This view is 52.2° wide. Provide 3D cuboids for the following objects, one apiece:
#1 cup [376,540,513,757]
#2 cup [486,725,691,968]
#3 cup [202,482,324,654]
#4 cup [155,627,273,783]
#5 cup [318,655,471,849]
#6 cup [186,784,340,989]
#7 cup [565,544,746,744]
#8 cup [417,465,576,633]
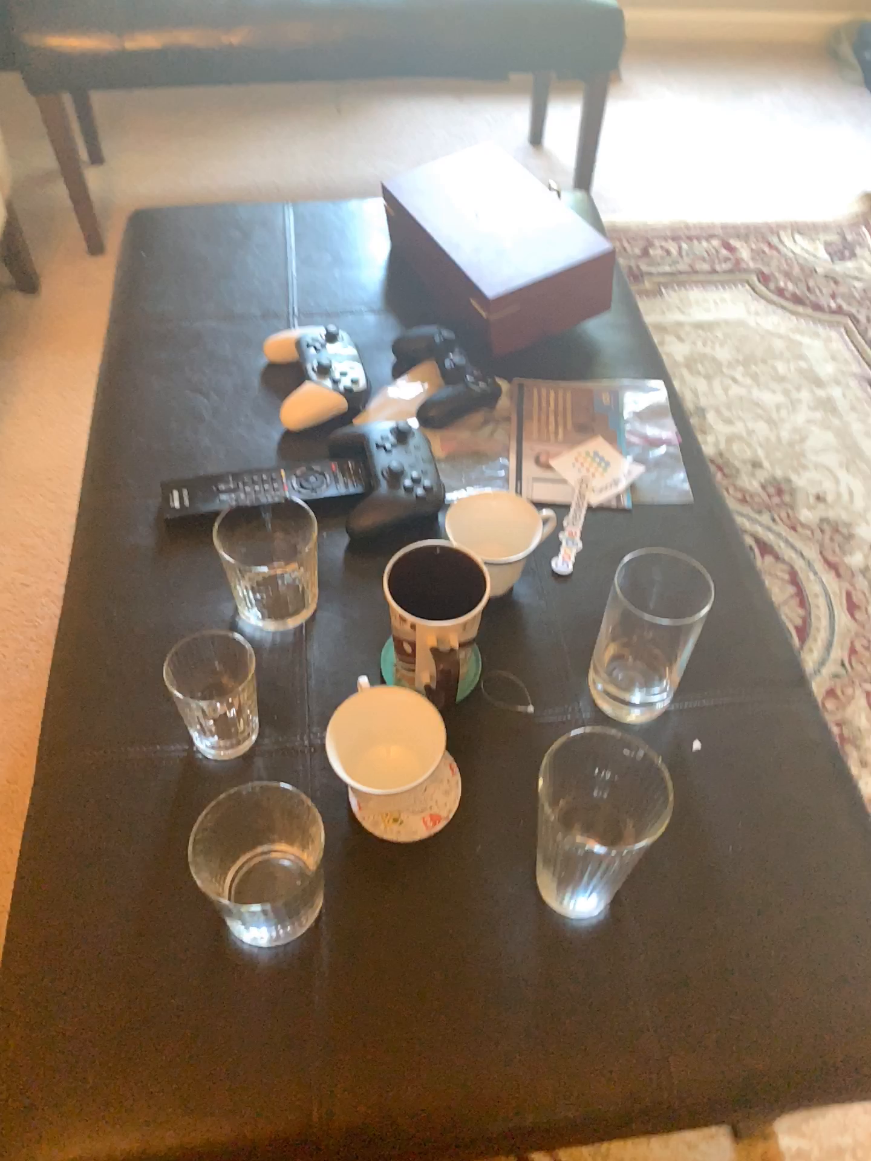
[{"bbox_3d":[0.002,0.057,0.748,0.090,0.119,0.131,-5,52,-7],"label":"cup"},{"bbox_3d":[0.099,0.197,0.640,0.090,0.189,0.090,2,51,-2],"label":"cup"},{"bbox_3d":[-0.154,-0.010,0.804,0.090,0.119,0.090,2,51,-2],"label":"cup"},{"bbox_3d":[-0.178,0.102,0.718,0.070,0.100,0.070,2,51,-2],"label":"cup"},{"bbox_3d":[-0.034,0.131,0.686,0.090,0.070,0.110,-11,53,-12],"label":"cup"},{"bbox_3d":[-0.121,0.220,0.635,0.090,0.119,0.090,2,51,-2],"label":"cup"},{"bbox_3d":[0.174,0.054,0.732,0.090,0.139,0.090,2,51,-2],"label":"cup"},{"bbox_3d":[0.055,-0.031,0.838,0.110,0.080,0.090,-33,60,-26],"label":"cup"}]
